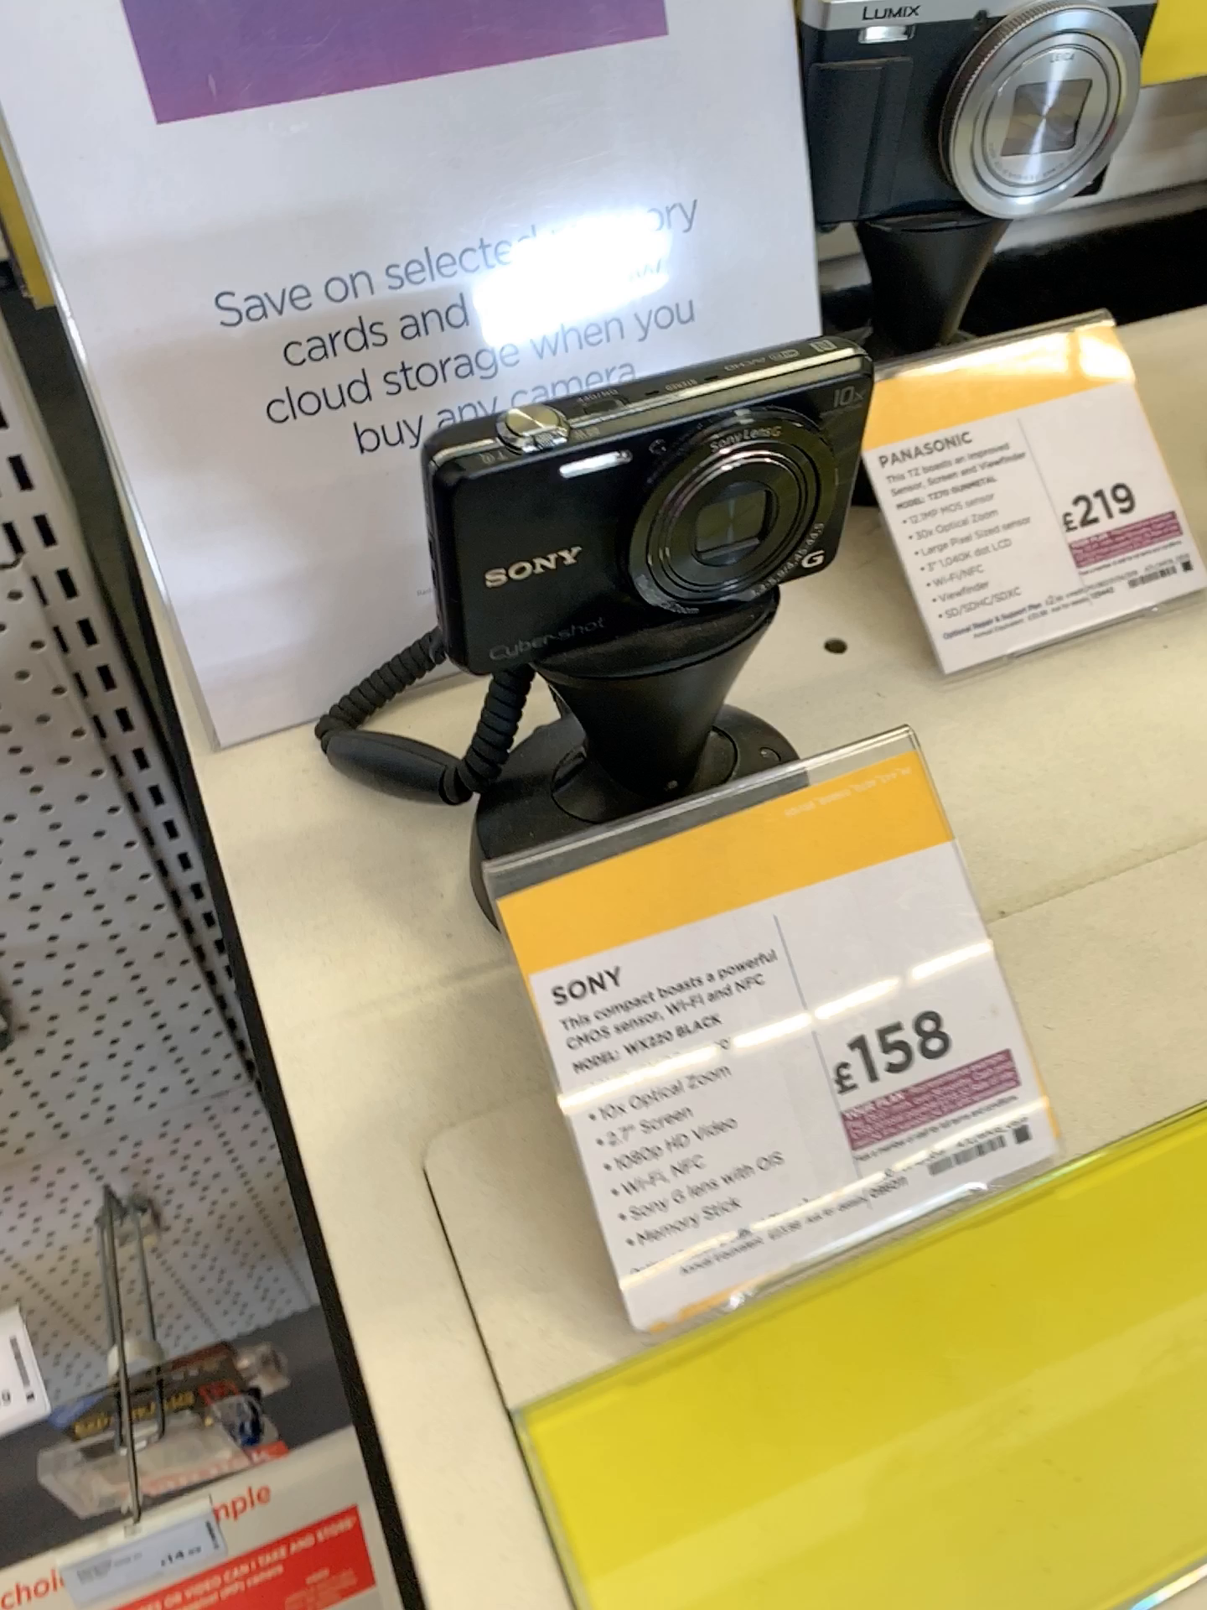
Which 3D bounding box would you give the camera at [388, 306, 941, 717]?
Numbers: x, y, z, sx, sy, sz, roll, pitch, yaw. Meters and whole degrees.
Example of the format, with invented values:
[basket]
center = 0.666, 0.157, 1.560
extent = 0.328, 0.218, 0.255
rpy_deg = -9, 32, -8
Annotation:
[camera]
center = 0.012, -0.060, 0.252
extent = 0.100, 0.050, 0.030
rpy_deg = -19, 53, -16
